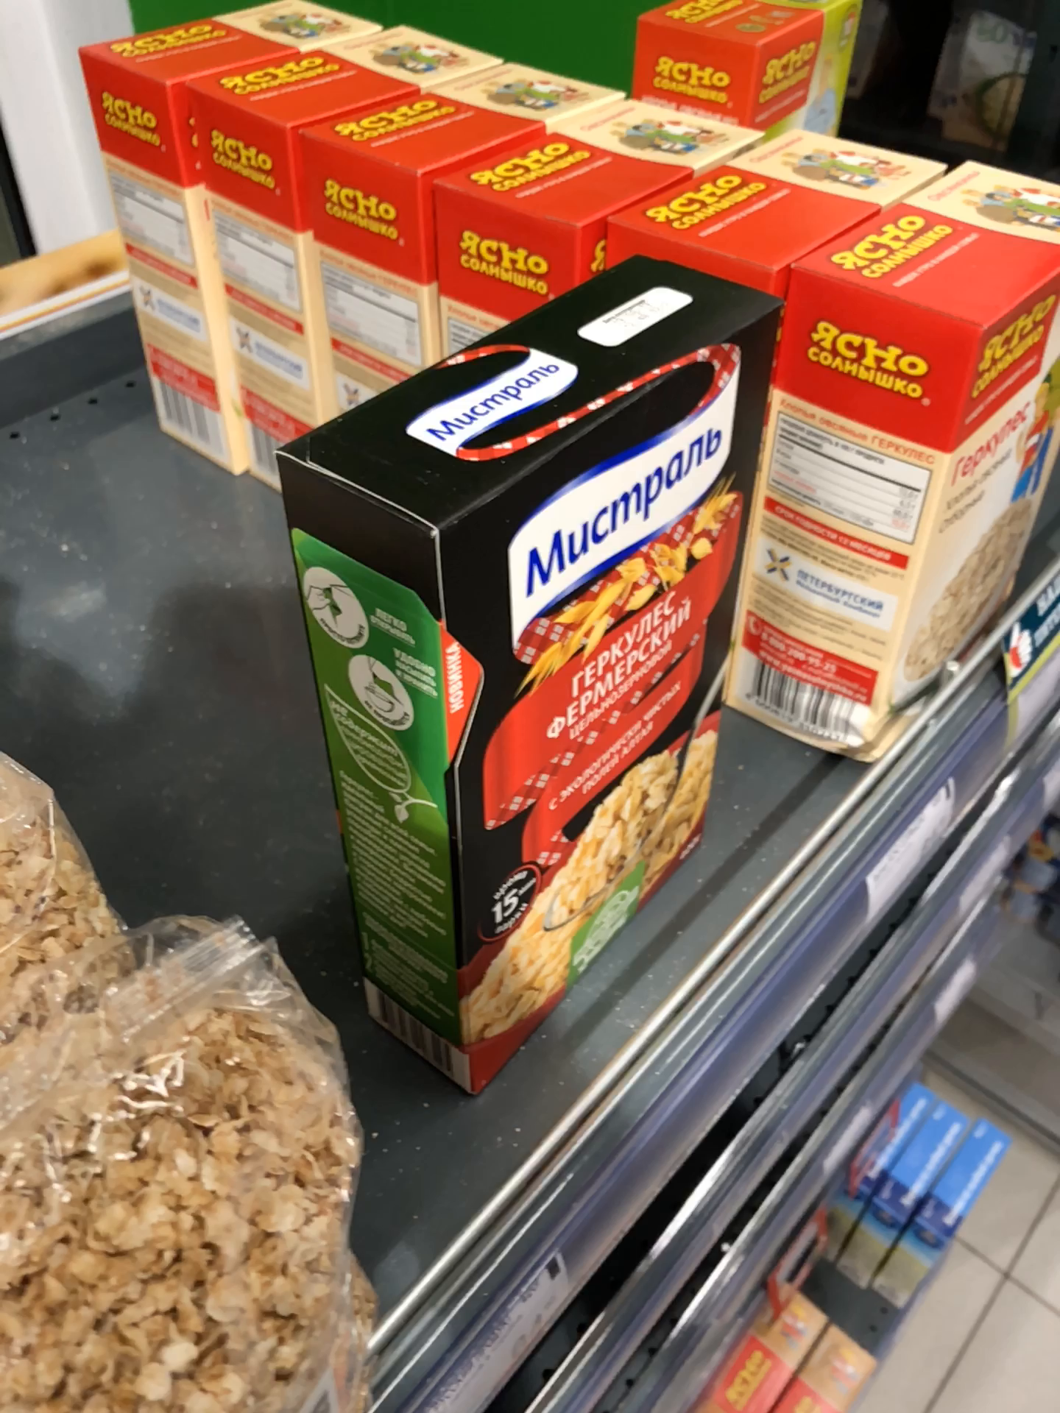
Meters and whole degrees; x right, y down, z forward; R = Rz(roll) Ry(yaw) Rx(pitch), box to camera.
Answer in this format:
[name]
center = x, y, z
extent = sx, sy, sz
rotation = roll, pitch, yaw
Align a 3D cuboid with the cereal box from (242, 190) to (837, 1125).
[cereal box]
center = 0.008, -0.004, 0.324
extent = 0.050, 0.219, 0.141
rotation = 29, 50, 26
